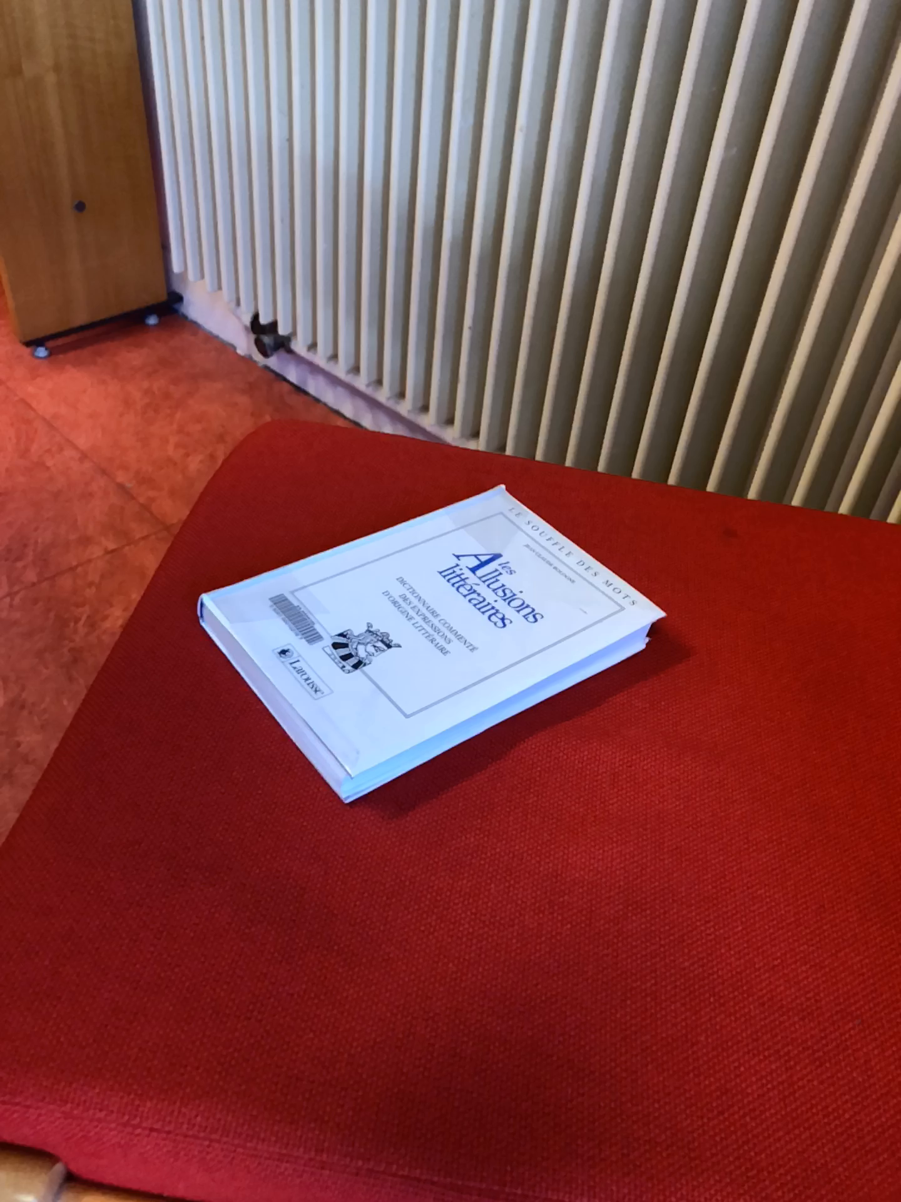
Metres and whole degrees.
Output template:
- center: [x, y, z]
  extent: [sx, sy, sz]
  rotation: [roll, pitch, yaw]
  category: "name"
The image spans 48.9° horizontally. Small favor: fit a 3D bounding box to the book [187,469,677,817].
- center: [-0.008, 0.007, 0.542]
  extent: [0.218, 0.030, 0.150]
  rotation: [-24, 49, -31]
  category: "book"
